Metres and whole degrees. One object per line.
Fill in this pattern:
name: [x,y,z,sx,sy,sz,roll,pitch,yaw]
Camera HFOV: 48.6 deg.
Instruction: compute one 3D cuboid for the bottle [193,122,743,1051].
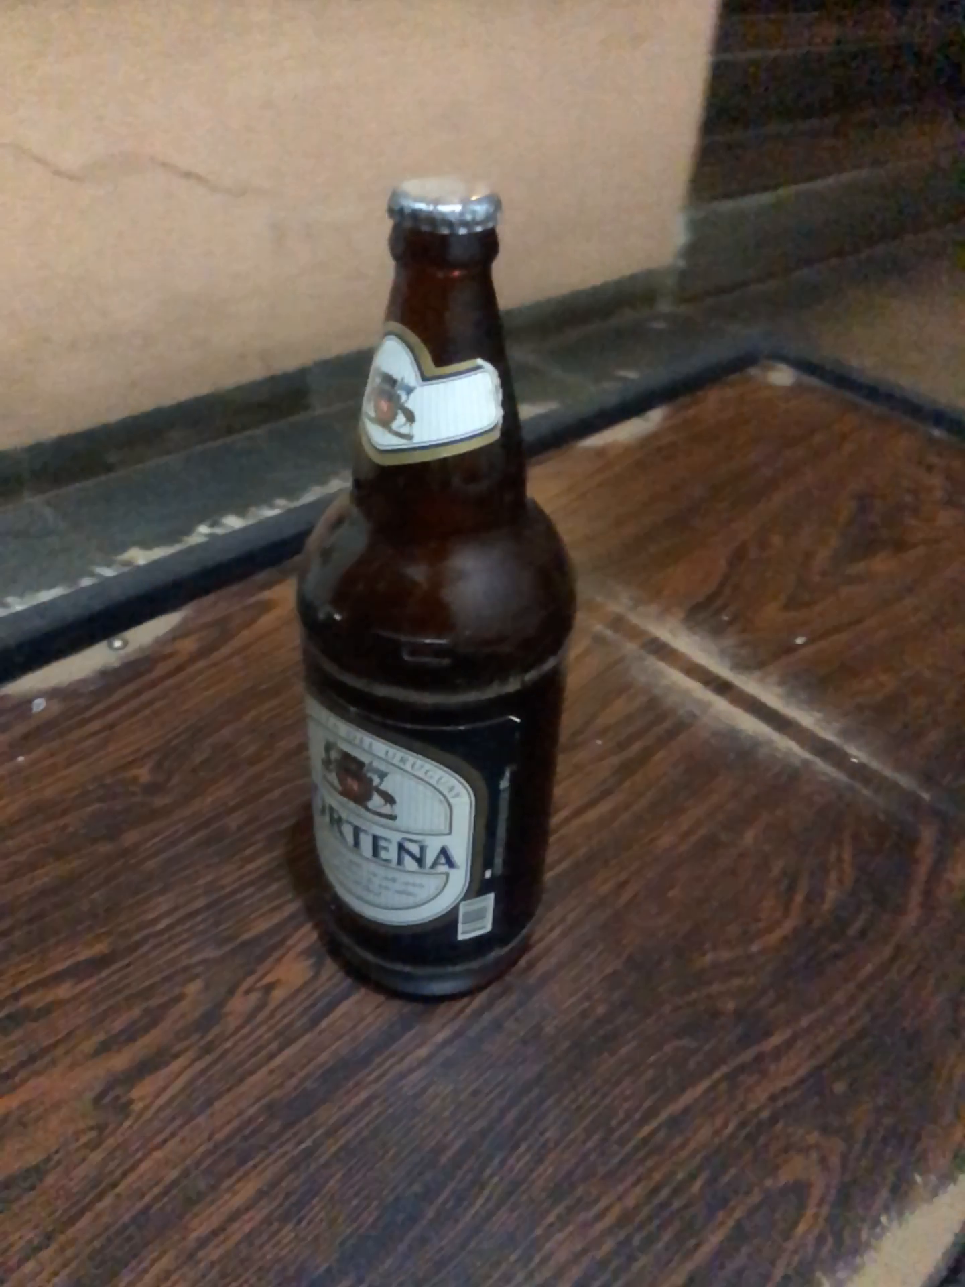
bottle: [-0.010,-0.008,0.348,0.100,0.268,0.101,4,37,-3]
